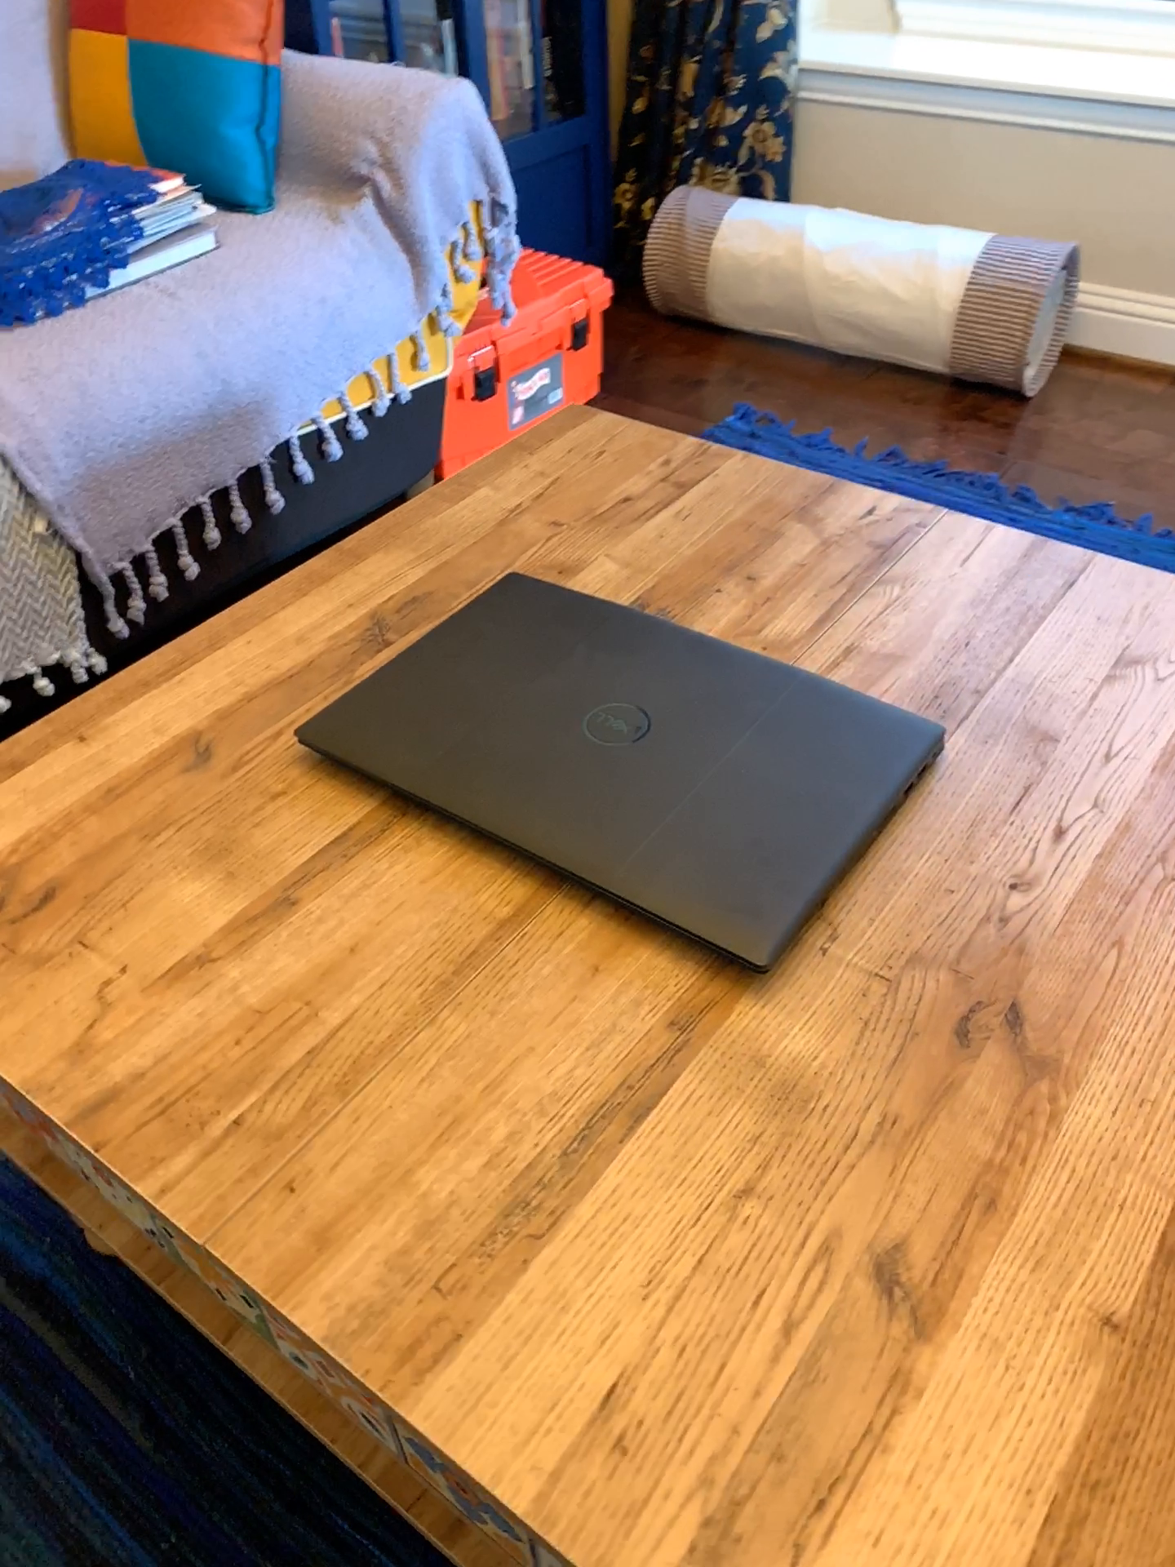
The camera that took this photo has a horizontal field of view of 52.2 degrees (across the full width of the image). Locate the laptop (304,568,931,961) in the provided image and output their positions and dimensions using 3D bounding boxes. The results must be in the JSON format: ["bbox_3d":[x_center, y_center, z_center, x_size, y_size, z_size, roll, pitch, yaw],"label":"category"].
[{"bbox_3d":[0.016,-0.036,0.780,0.347,0.001,0.228,25,49,27],"label":"laptop"}]
